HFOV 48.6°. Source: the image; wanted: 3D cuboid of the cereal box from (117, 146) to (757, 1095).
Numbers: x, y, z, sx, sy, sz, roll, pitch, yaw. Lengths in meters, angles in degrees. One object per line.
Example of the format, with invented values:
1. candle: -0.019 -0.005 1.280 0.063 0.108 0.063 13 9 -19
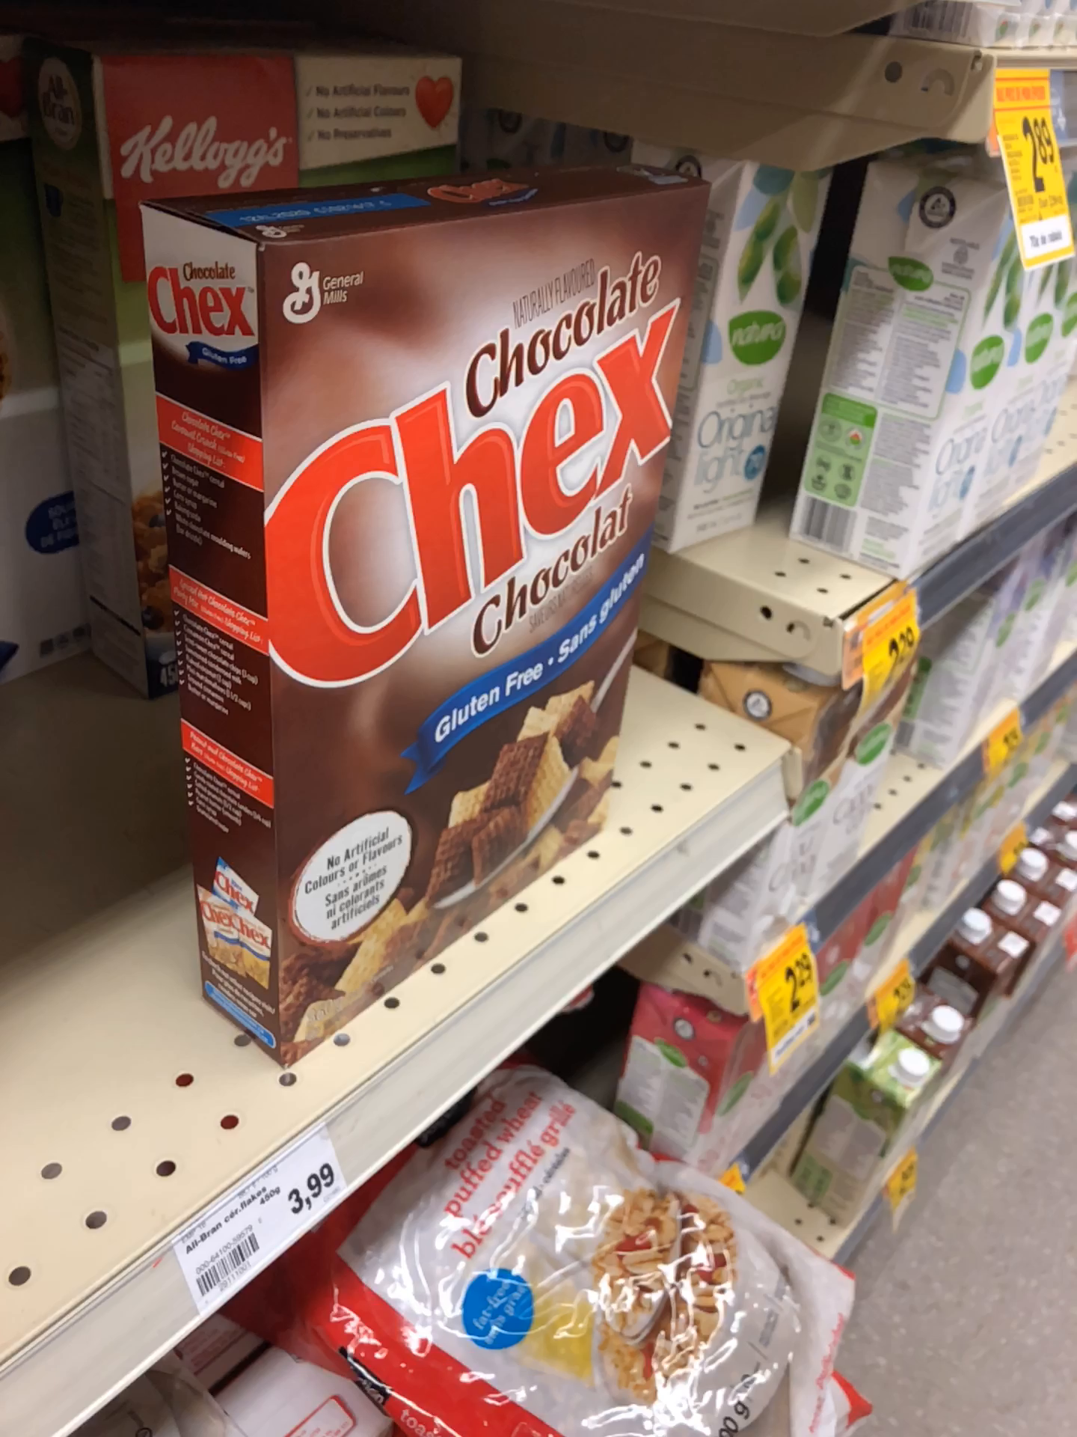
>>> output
1. cereal box: -0.027 -0.037 0.415 0.050 0.278 0.211 29 39 29
